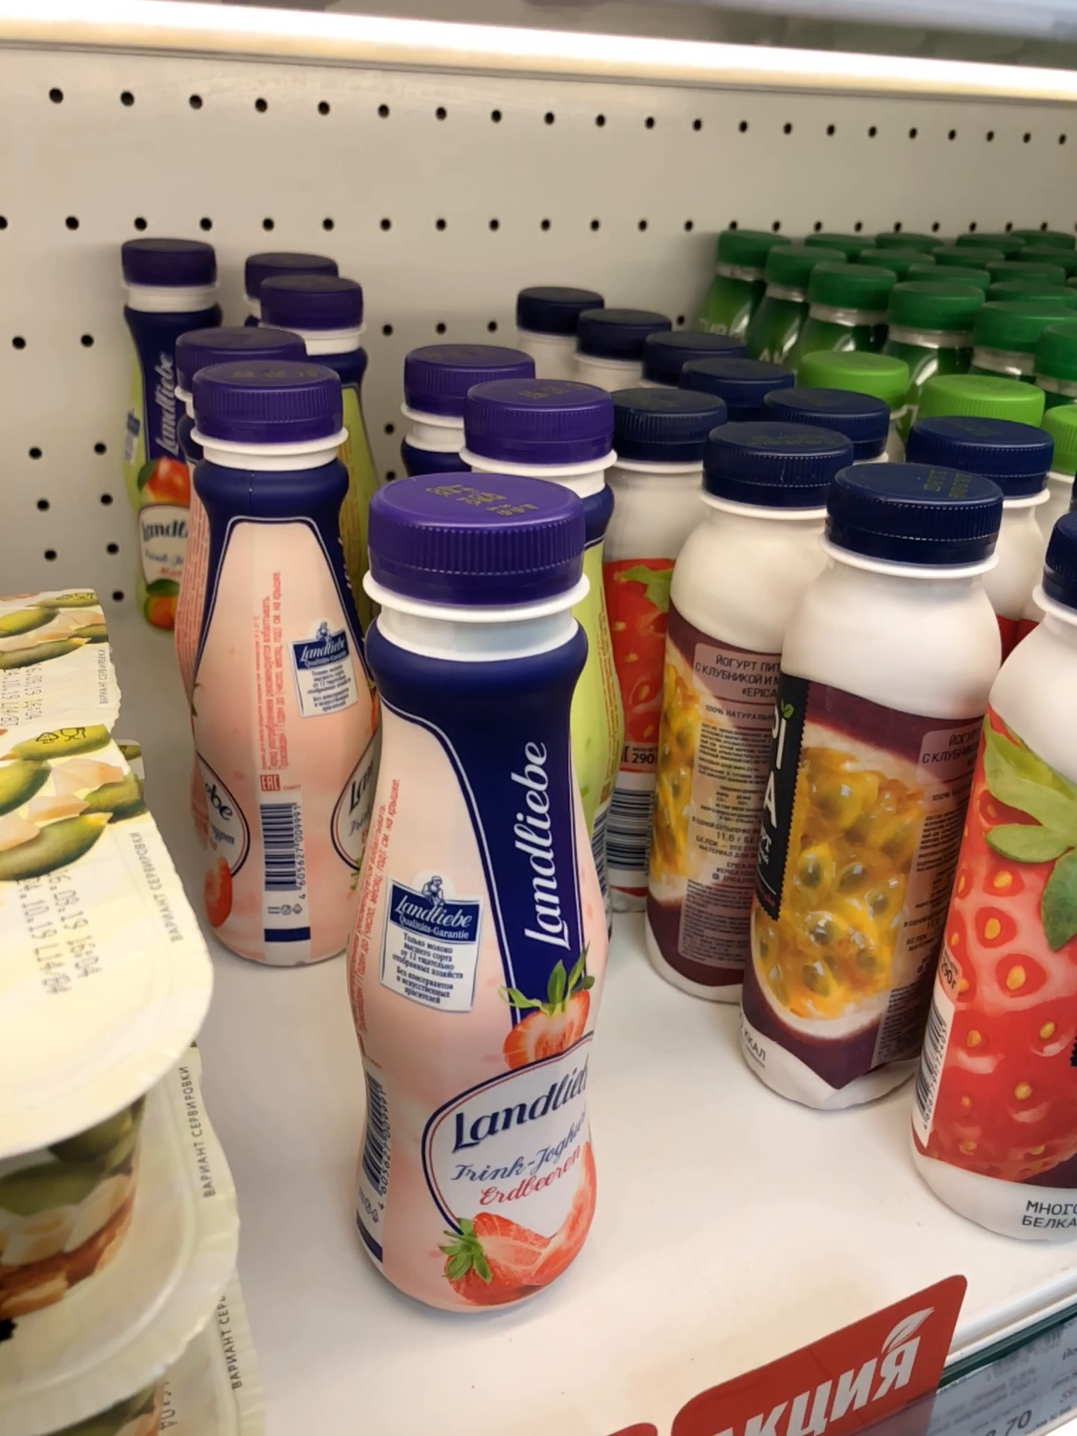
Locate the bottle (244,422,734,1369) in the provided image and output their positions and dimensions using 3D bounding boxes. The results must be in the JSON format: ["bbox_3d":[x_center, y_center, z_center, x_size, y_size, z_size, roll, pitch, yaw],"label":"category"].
[{"bbox_3d":[-0.015,0.039,0.267,0.070,0.189,0.070,2,26,-1],"label":"bottle"}]
